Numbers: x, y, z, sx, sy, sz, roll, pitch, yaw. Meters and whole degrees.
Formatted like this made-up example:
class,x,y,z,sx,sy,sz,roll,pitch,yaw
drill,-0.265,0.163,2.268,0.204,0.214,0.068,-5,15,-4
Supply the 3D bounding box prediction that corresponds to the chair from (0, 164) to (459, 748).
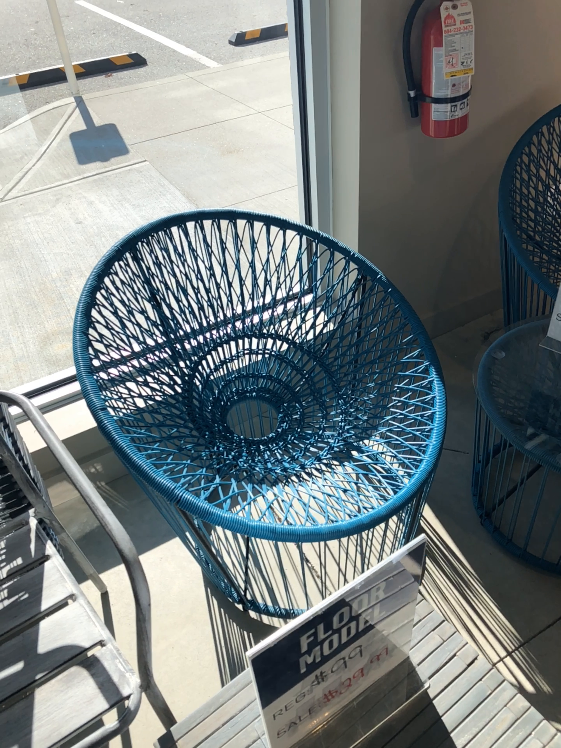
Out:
class,x,y,z,sx,sy,sz,roll,pitch,yaw
chair,-0.070,0.175,1.414,0.662,0.993,0.723,15,44,23
